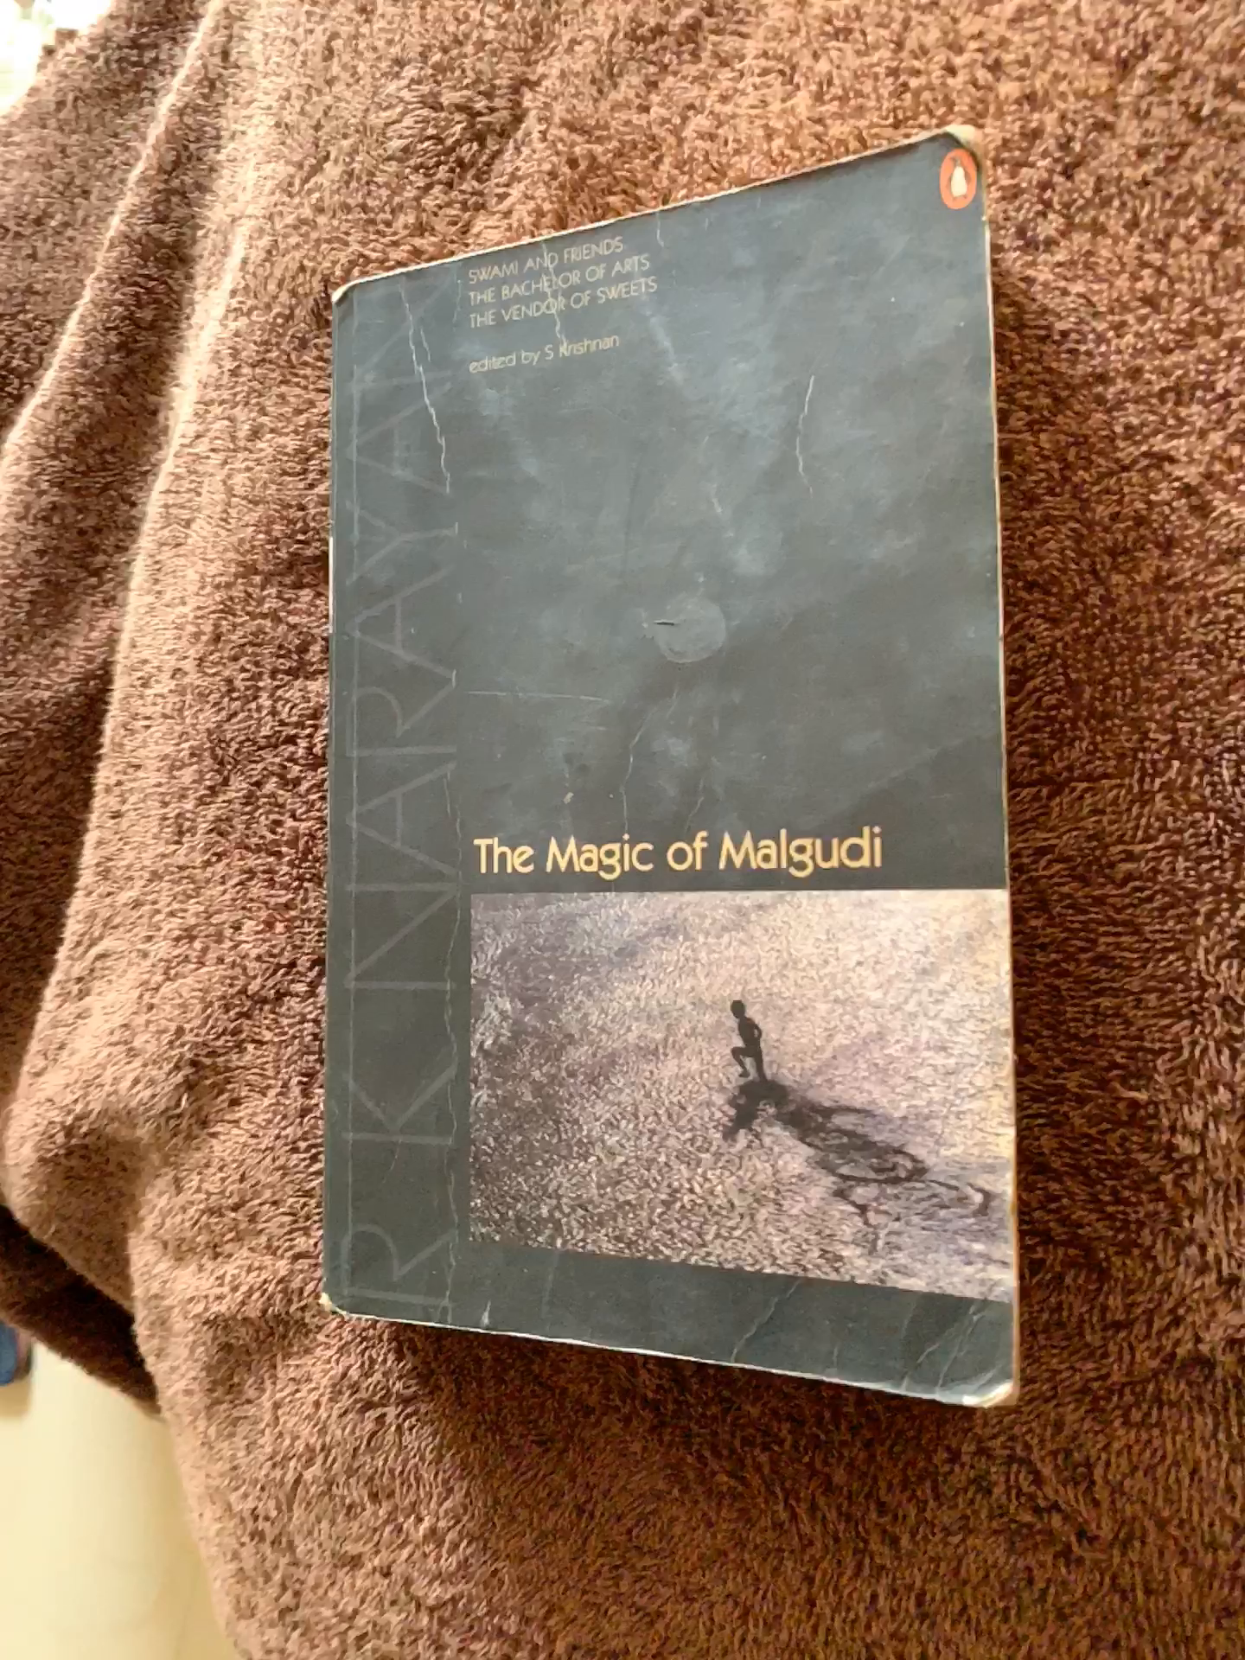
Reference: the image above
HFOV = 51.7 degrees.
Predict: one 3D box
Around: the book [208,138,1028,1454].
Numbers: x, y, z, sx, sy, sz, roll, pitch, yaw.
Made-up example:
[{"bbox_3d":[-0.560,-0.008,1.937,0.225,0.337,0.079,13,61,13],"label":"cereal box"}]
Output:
[{"bbox_3d":[-0.006,-0.005,0.229,0.142,0.030,0.193,-2,86,22],"label":"book"}]
